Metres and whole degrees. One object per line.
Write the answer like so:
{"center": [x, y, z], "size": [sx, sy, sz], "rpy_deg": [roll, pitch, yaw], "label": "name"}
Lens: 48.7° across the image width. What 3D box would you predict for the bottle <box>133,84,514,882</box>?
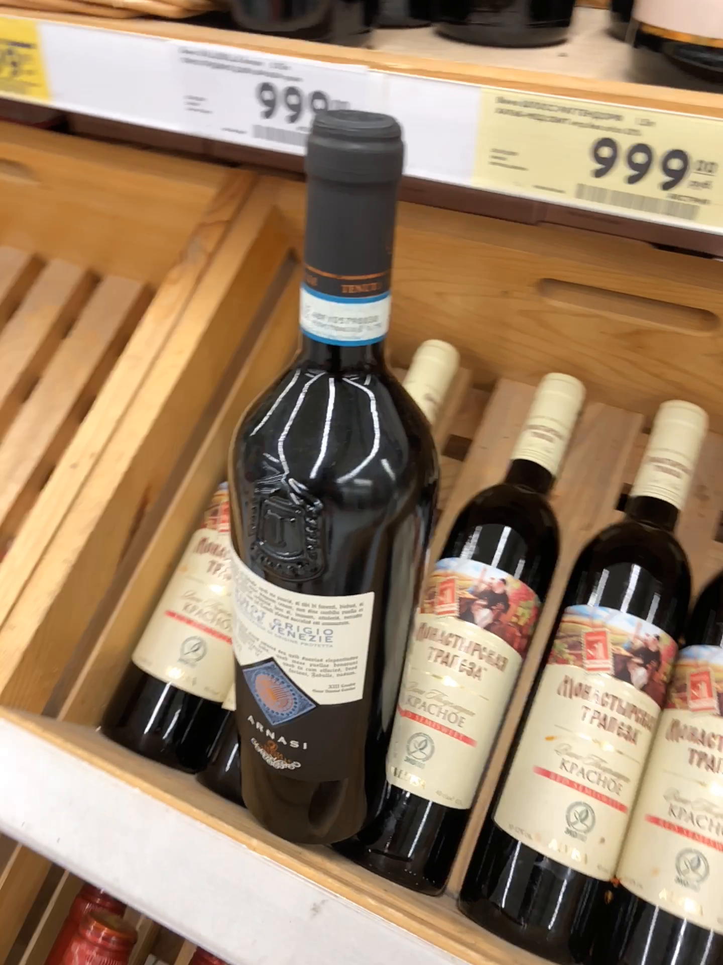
{"center": [-0.020, 0.019, 0.332], "size": [0.090, 0.318, 0.080], "rpy_deg": [19, 35, 21], "label": "bottle"}
